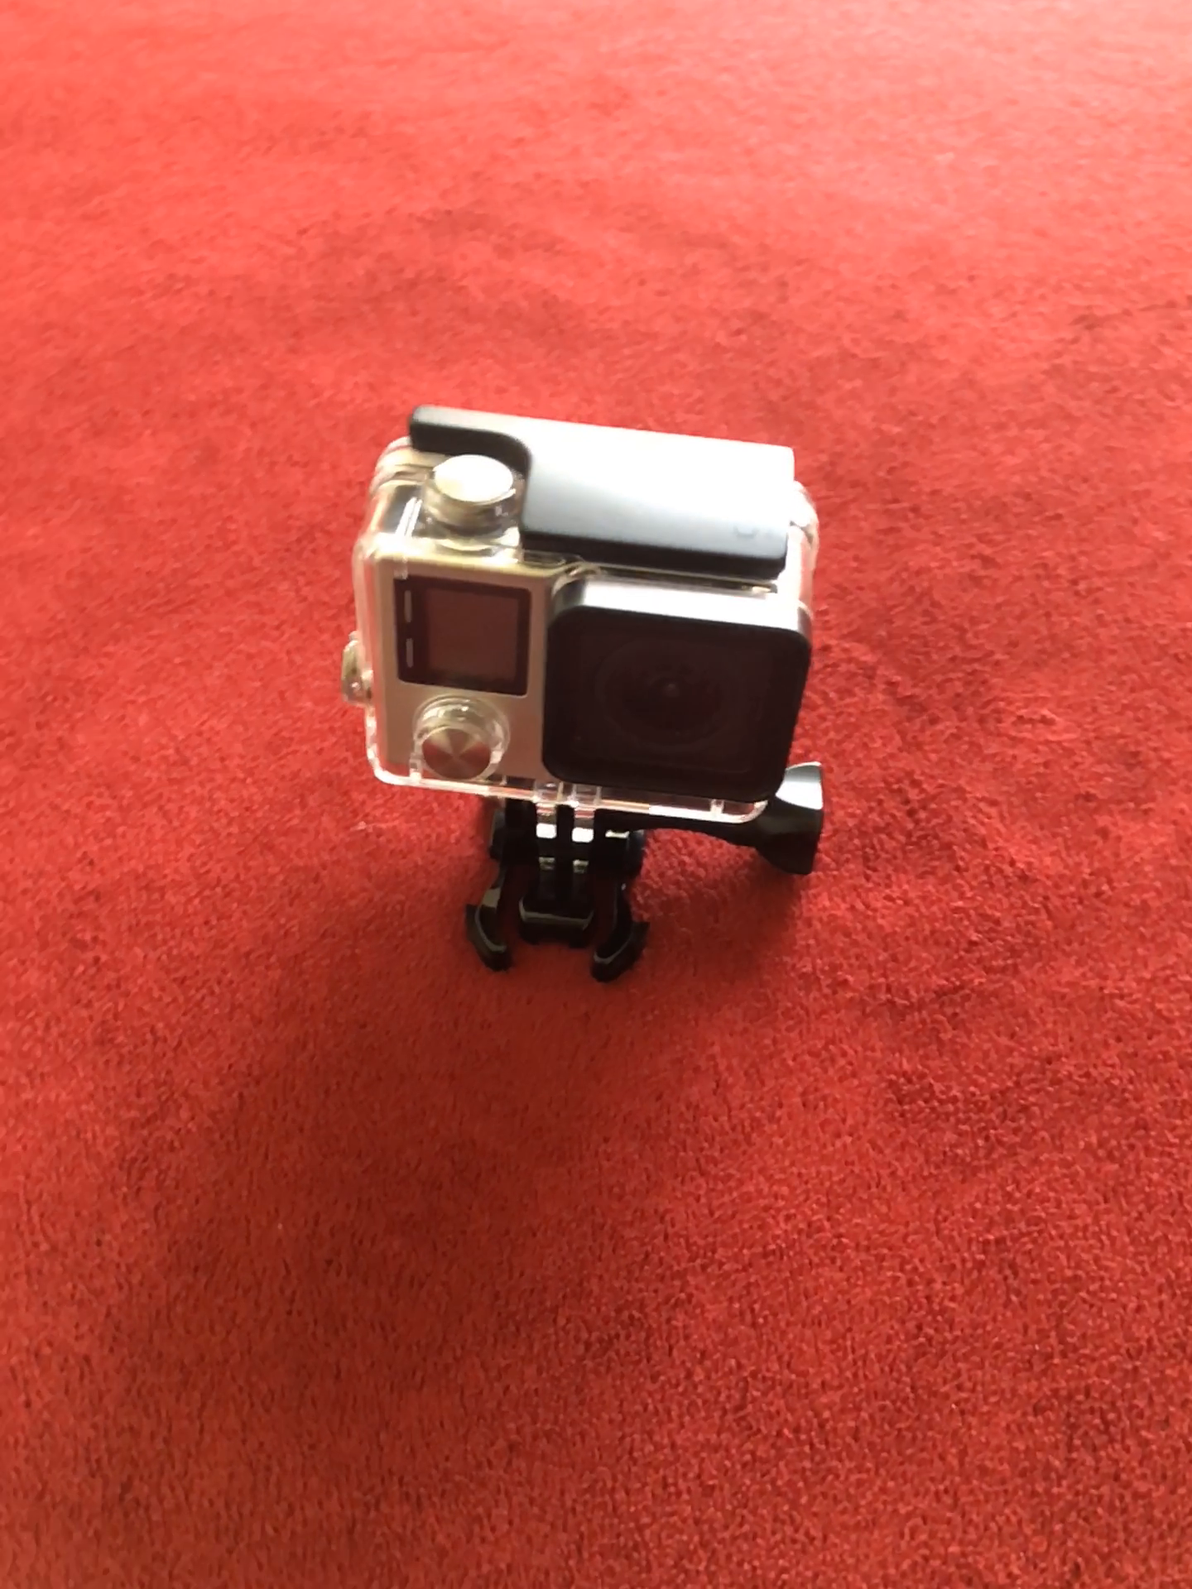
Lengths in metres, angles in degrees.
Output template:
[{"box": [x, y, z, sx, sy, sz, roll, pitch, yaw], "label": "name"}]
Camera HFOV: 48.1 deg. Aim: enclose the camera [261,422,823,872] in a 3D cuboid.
[{"box": [-0.005, -0.022, 0.202, 0.072, 0.050, 0.040, 4, 46, 4], "label": "camera"}]
